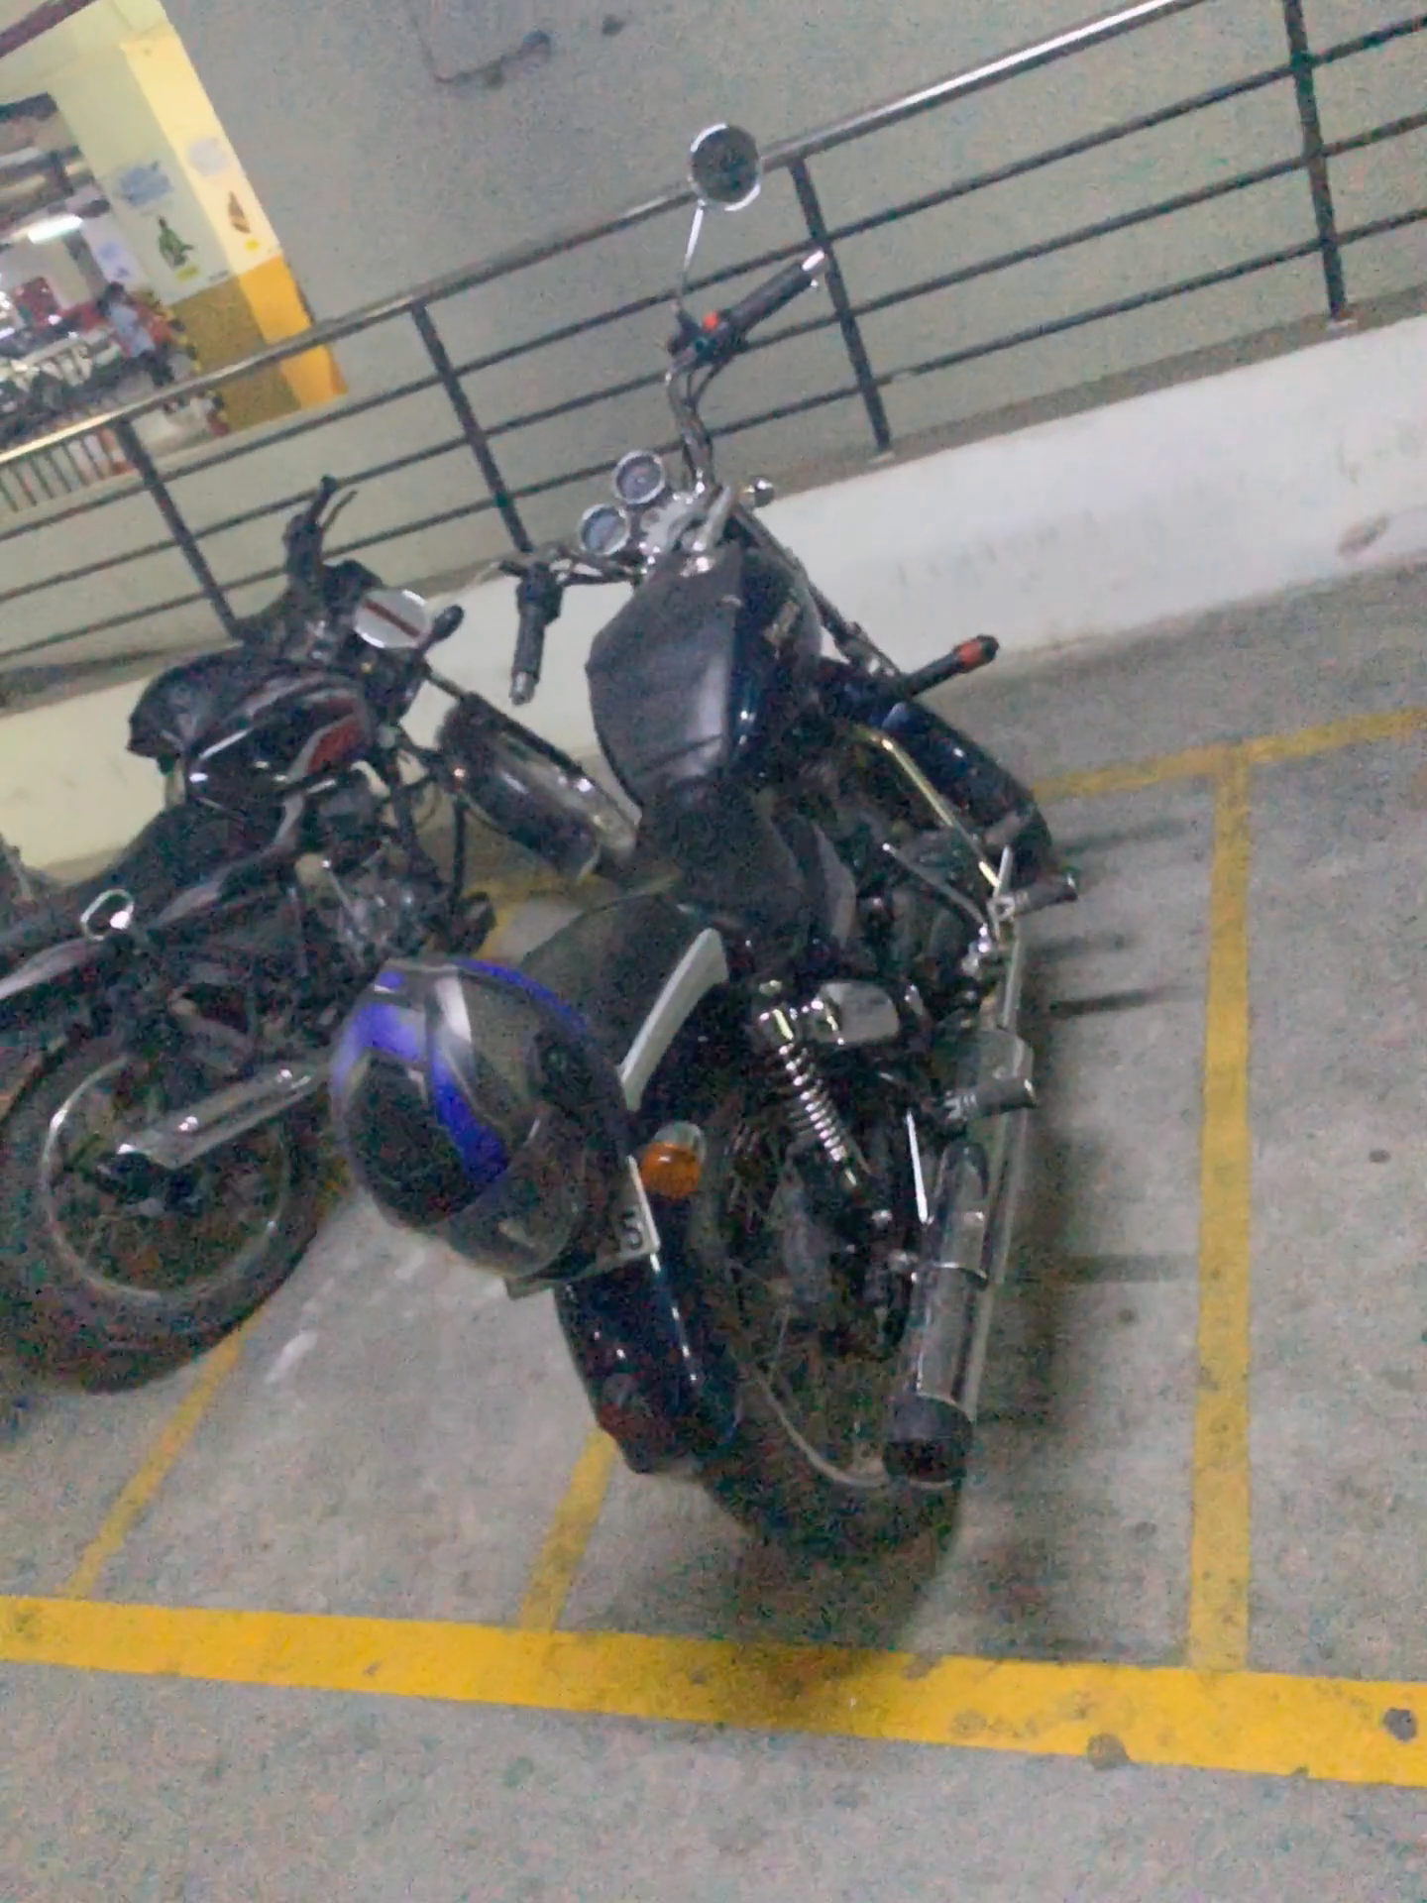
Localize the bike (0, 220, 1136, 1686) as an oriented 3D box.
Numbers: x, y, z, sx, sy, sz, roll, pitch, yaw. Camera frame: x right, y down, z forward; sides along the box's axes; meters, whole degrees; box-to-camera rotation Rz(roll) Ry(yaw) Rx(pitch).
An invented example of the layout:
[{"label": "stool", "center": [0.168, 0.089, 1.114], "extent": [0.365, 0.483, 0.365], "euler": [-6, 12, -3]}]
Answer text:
[{"label": "bike", "center": [-0.094, -0.112, 2.162], "extent": [0.843, 1.303, 1.673], "euler": [-15, 32, 15]}]

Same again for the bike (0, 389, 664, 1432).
[{"label": "bike", "center": [-0.917, -0.144, 2.860], "extent": [0.596, 1.192, 1.504], "euler": [2, 40, 37]}]
